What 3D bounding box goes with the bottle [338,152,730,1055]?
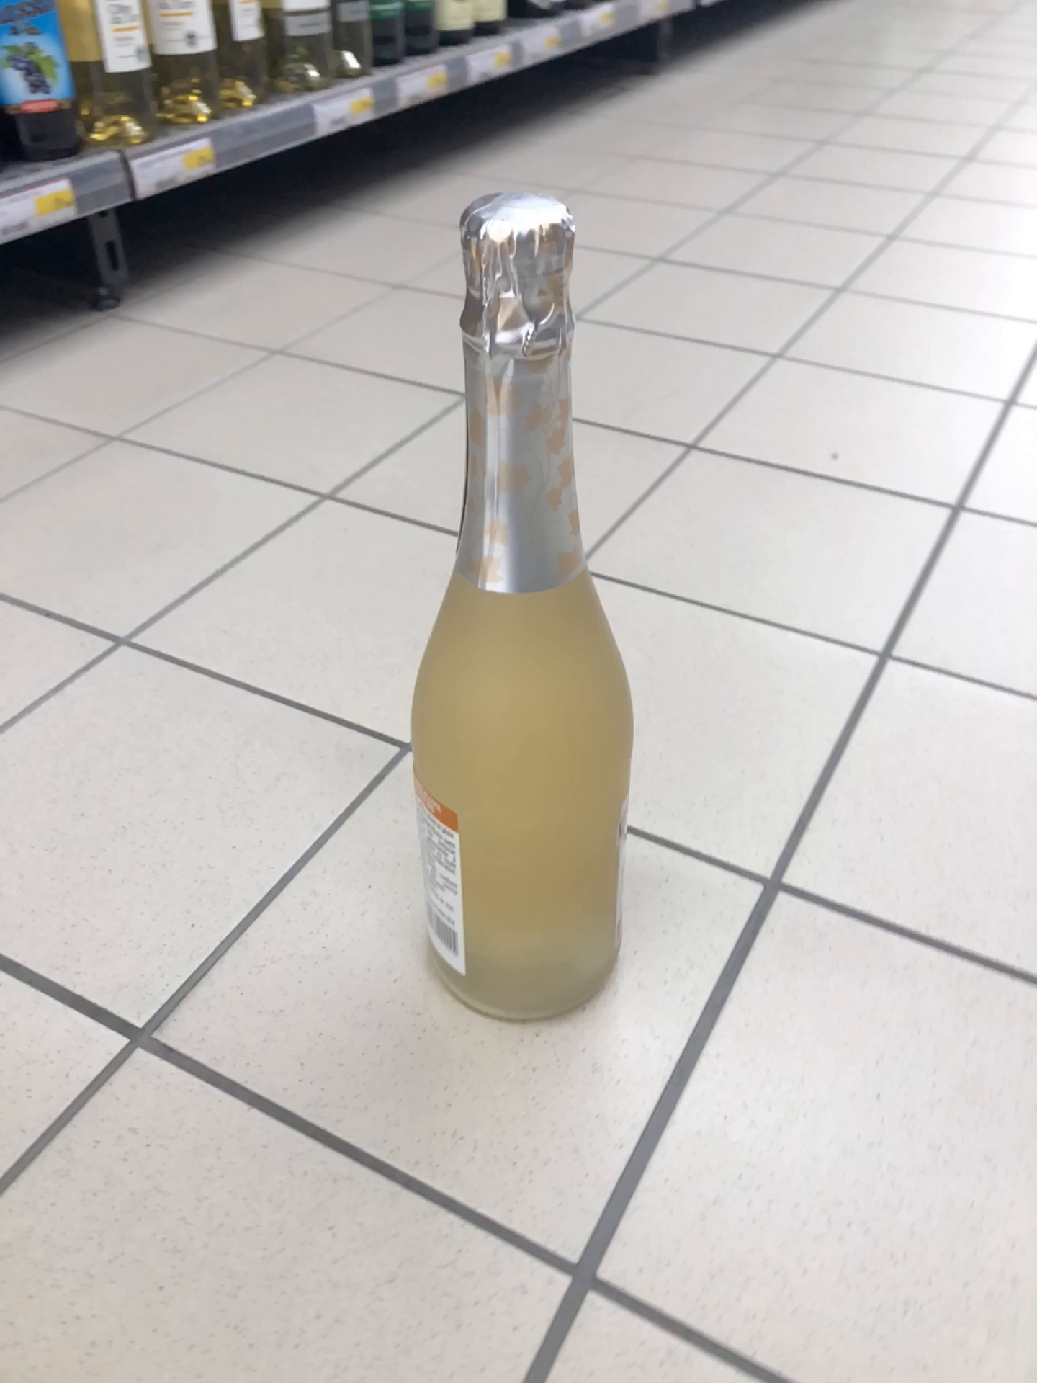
[{"bbox_3d":[0.000,-0.012,0.404,0.090,0.308,0.090,0,37,0],"label":"bottle"}]
